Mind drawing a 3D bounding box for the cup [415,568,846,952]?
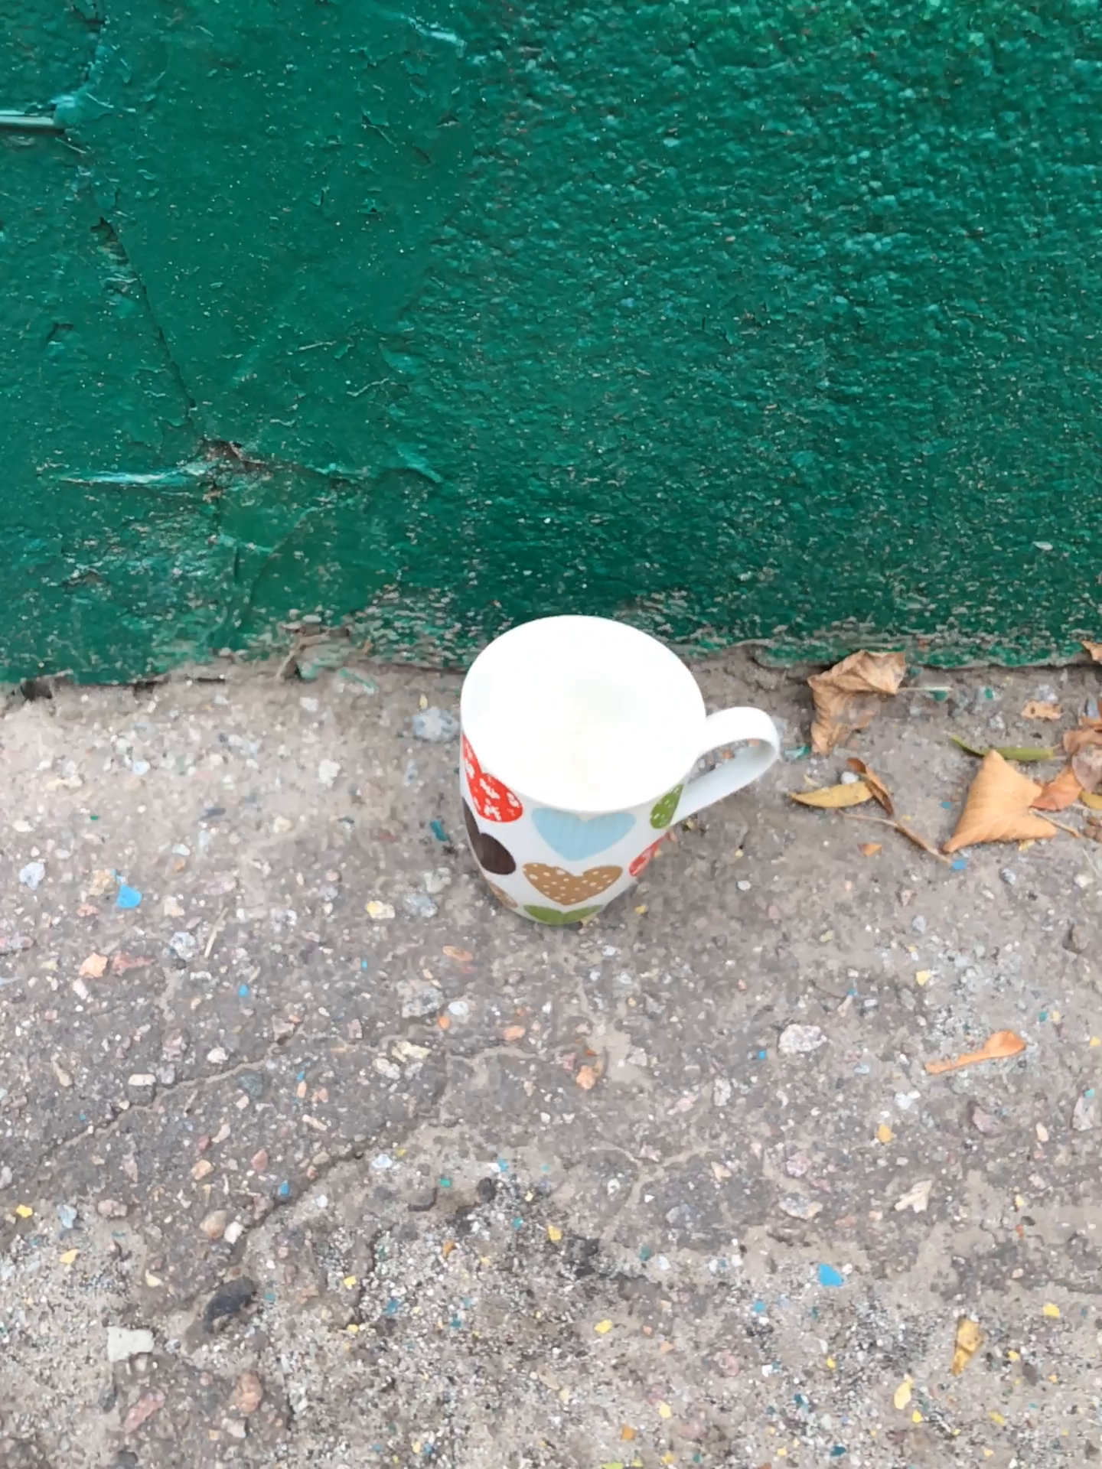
[{"bbox_3d":[0.022,0.007,0.430,0.116,0.079,0.082,-12,55,-19],"label":"cup"}]
